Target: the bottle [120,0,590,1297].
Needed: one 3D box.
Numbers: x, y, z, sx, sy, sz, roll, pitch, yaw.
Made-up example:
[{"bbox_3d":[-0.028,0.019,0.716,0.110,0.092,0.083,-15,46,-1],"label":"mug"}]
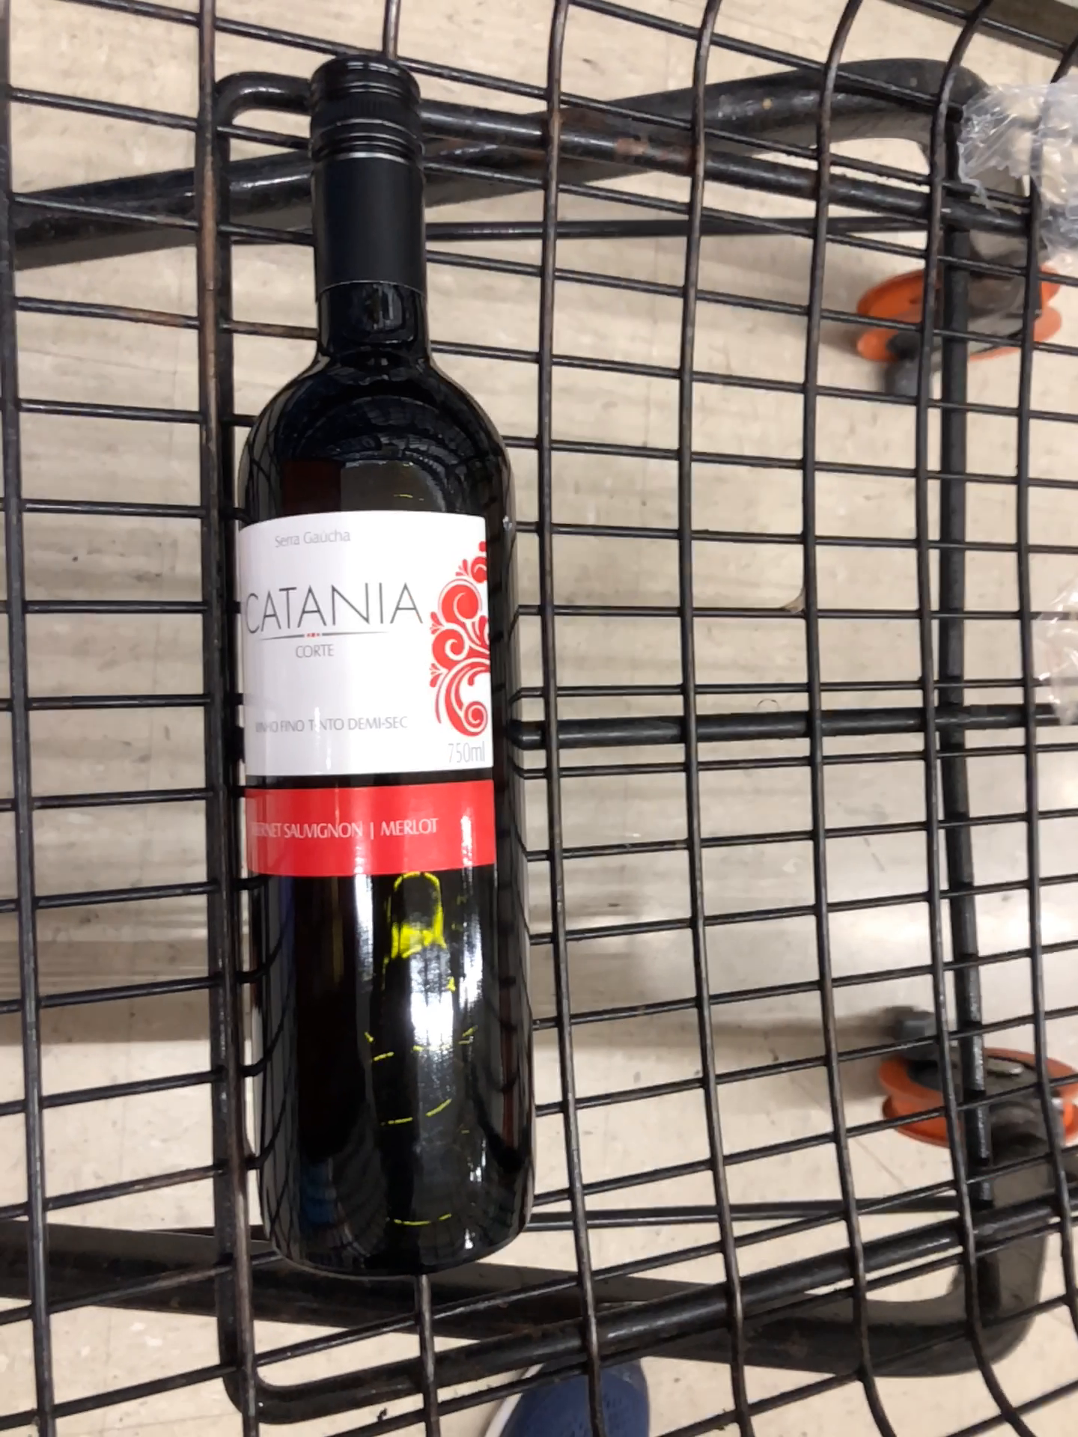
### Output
[{"bbox_3d":[-0.043,-0.025,0.302,0.080,0.070,0.300,-2,90,20],"label":"bottle"}]
